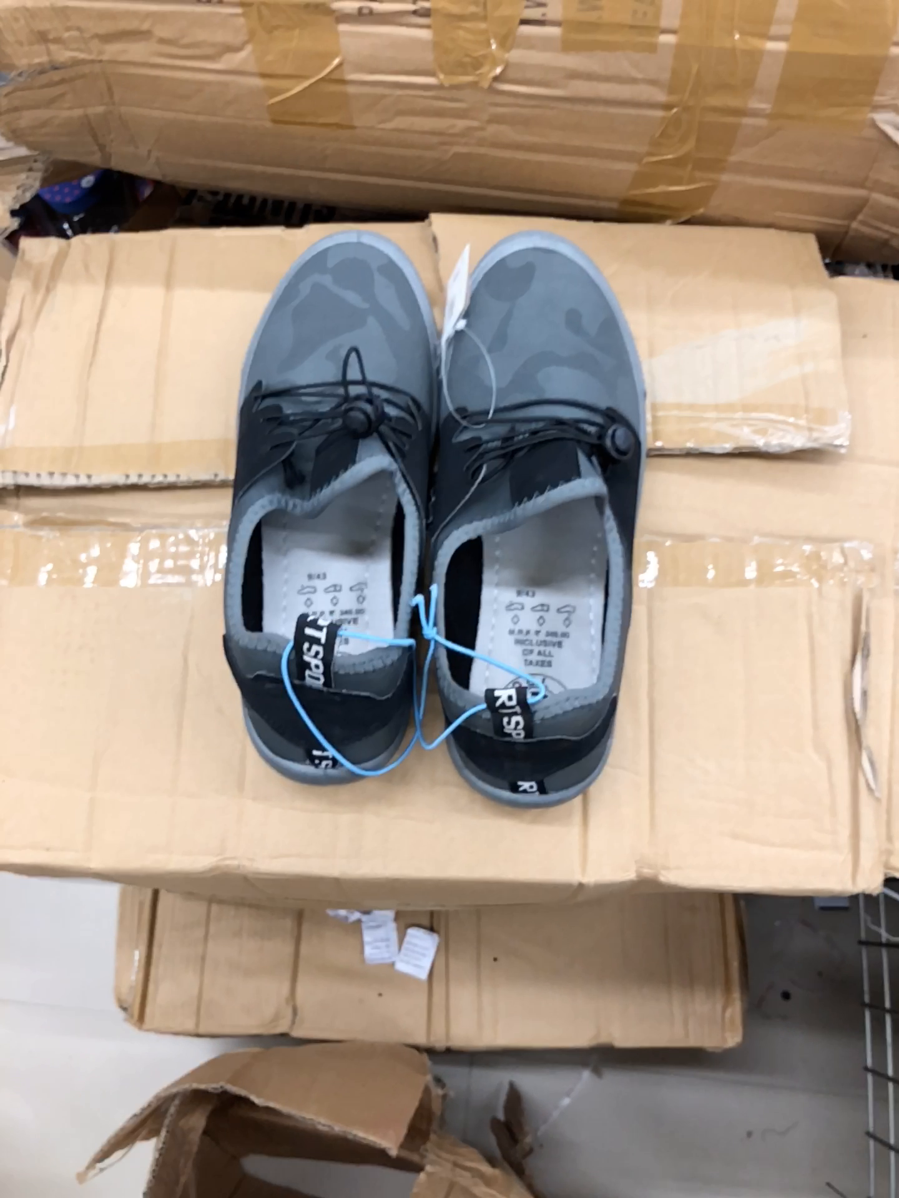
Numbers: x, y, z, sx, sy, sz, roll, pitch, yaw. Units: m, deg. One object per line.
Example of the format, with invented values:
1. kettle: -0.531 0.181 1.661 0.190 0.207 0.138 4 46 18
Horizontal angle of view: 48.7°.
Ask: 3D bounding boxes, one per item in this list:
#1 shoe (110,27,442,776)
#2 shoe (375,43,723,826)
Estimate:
1. shoe: -0.063 -0.081 0.456 0.110 0.150 0.301 -2 72 0
2. shoe: 0.037 -0.064 0.423 0.110 0.130 0.301 2 72 1
